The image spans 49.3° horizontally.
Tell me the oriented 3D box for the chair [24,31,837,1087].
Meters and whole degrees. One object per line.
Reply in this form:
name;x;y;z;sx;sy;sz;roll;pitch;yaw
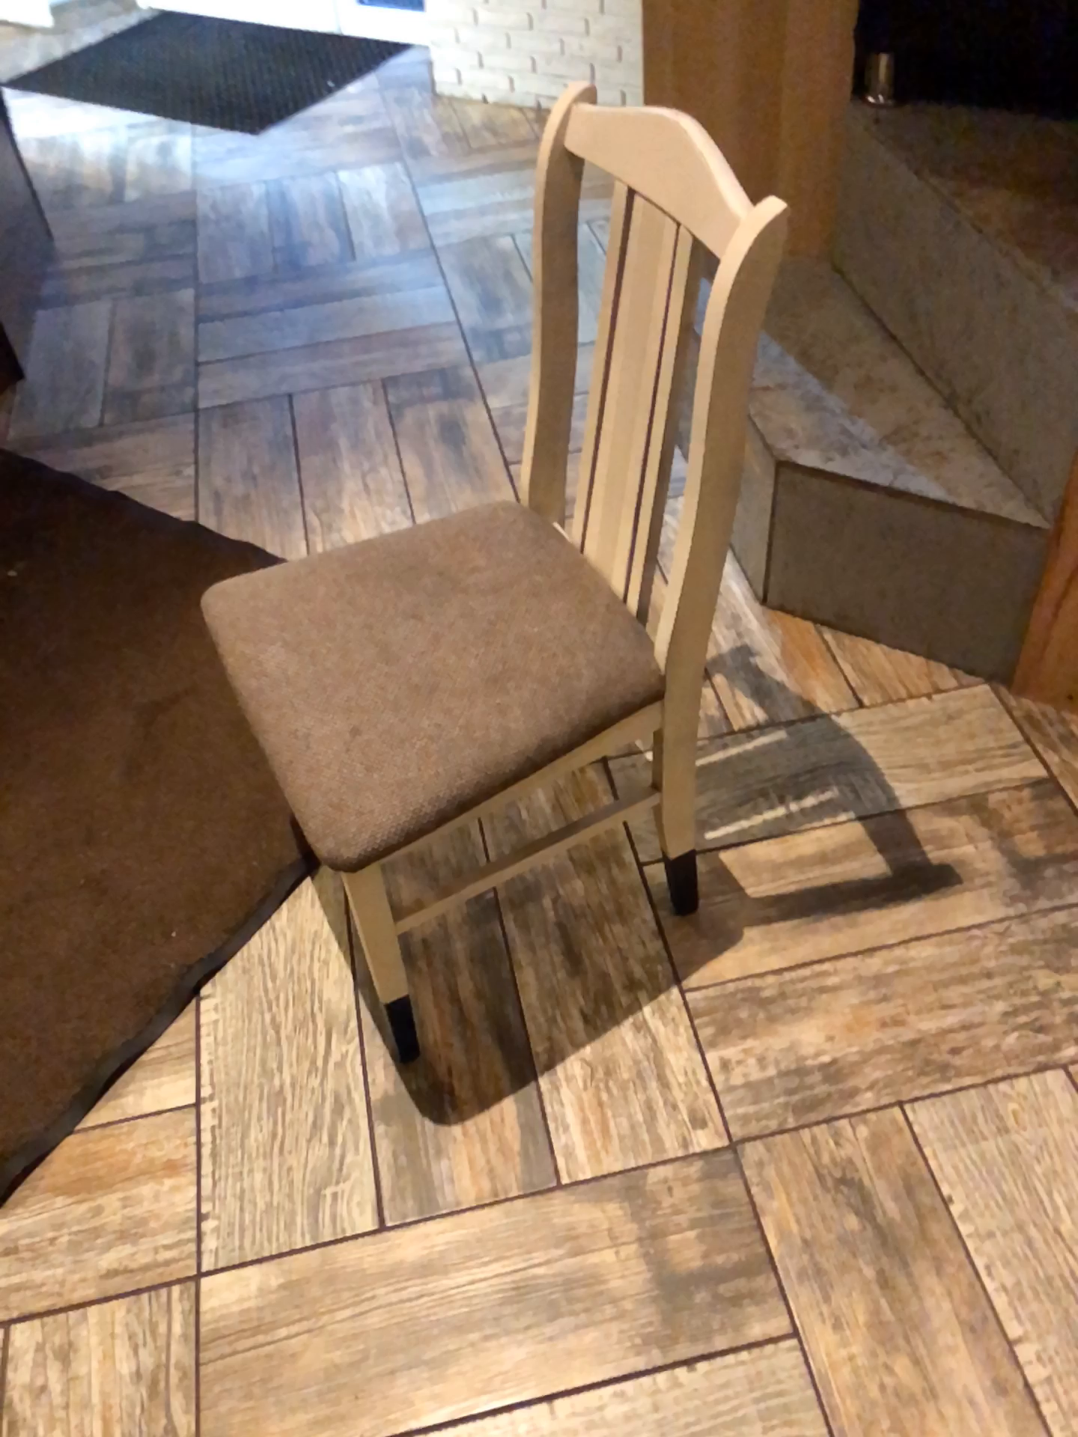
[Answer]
chair;-0.094;-0.130;1.277;0.519;0.916;0.481;-21;48;-16
